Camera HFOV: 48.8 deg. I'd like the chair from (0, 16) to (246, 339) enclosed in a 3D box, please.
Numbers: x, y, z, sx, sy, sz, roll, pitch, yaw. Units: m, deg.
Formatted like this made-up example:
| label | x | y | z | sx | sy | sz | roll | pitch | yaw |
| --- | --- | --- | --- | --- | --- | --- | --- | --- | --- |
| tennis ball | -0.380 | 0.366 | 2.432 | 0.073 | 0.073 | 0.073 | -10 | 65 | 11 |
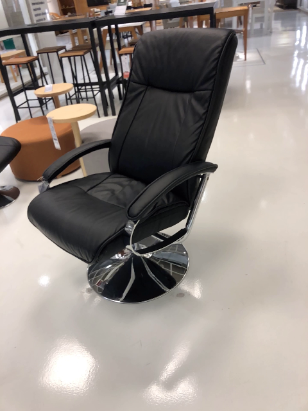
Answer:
| label | x | y | z | sx | sy | sz | roll | pitch | yaw |
| --- | --- | --- | --- | --- | --- | --- | --- | --- | --- |
| chair | -0.148 | -0.202 | 1.500 | 0.803 | 0.992 | 0.733 | -32 | 39 | -34 |
